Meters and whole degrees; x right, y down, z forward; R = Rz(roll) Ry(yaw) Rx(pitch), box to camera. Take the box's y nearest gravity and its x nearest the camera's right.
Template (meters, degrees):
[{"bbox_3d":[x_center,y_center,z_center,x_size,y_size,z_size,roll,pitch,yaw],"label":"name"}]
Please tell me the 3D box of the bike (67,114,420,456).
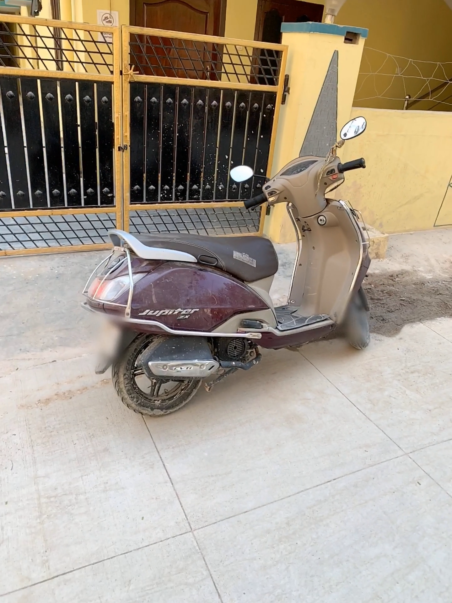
[{"bbox_3d":[0.094,-0.211,2.324,1.527,1.158,0.615,-18,35,-32],"label":"bike"}]
